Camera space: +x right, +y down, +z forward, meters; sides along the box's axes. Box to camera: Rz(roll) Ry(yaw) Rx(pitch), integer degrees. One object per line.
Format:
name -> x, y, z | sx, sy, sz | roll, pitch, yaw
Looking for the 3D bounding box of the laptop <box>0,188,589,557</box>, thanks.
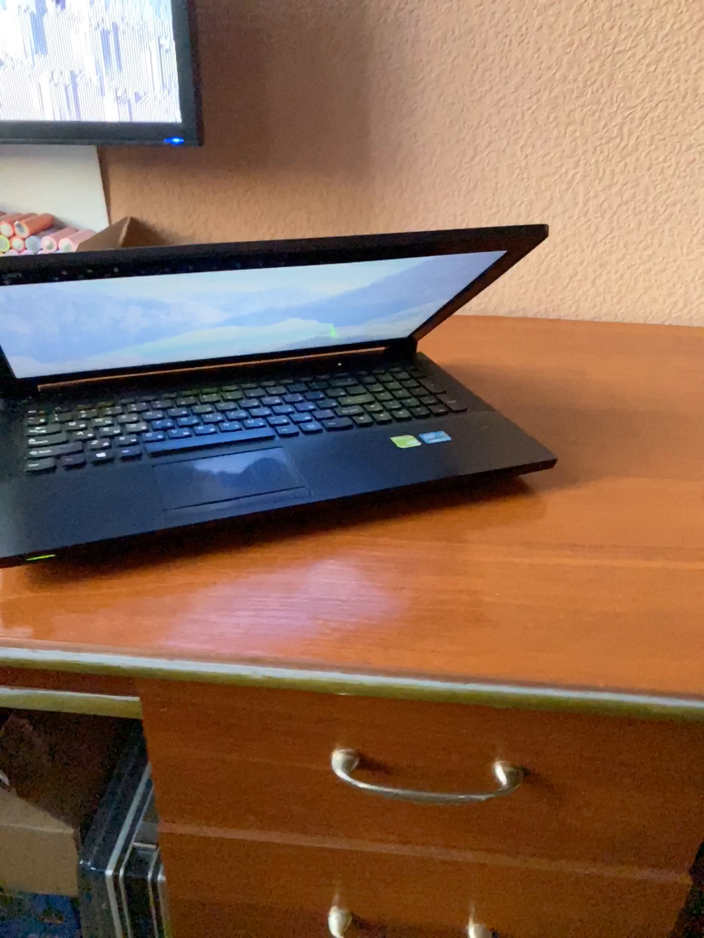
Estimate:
laptop -> -0.073, -0.105, 0.530 | 0.377, 0.149, 0.257 | -9, 31, -19
